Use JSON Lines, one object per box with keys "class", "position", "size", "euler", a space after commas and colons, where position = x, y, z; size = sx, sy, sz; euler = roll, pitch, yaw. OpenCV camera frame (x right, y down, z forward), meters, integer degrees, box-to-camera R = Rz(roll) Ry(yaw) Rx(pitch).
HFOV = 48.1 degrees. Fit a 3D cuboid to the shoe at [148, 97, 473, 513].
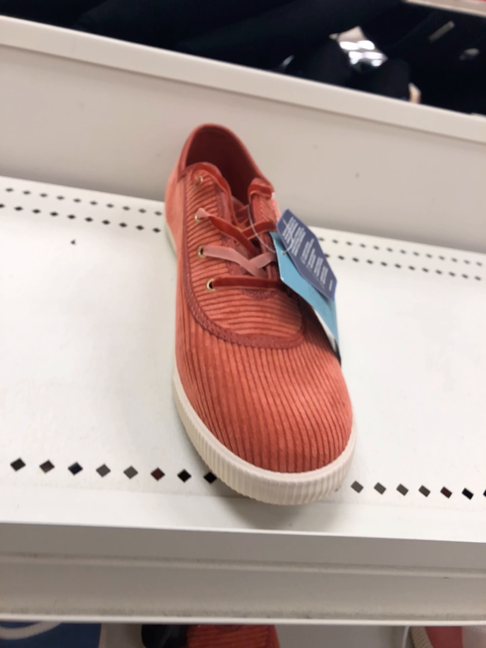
{"class": "shoe", "position": [0.002, -0.047, 0.348], "size": [0.100, 0.089, 0.323], "euler": [4, 35, -16]}
